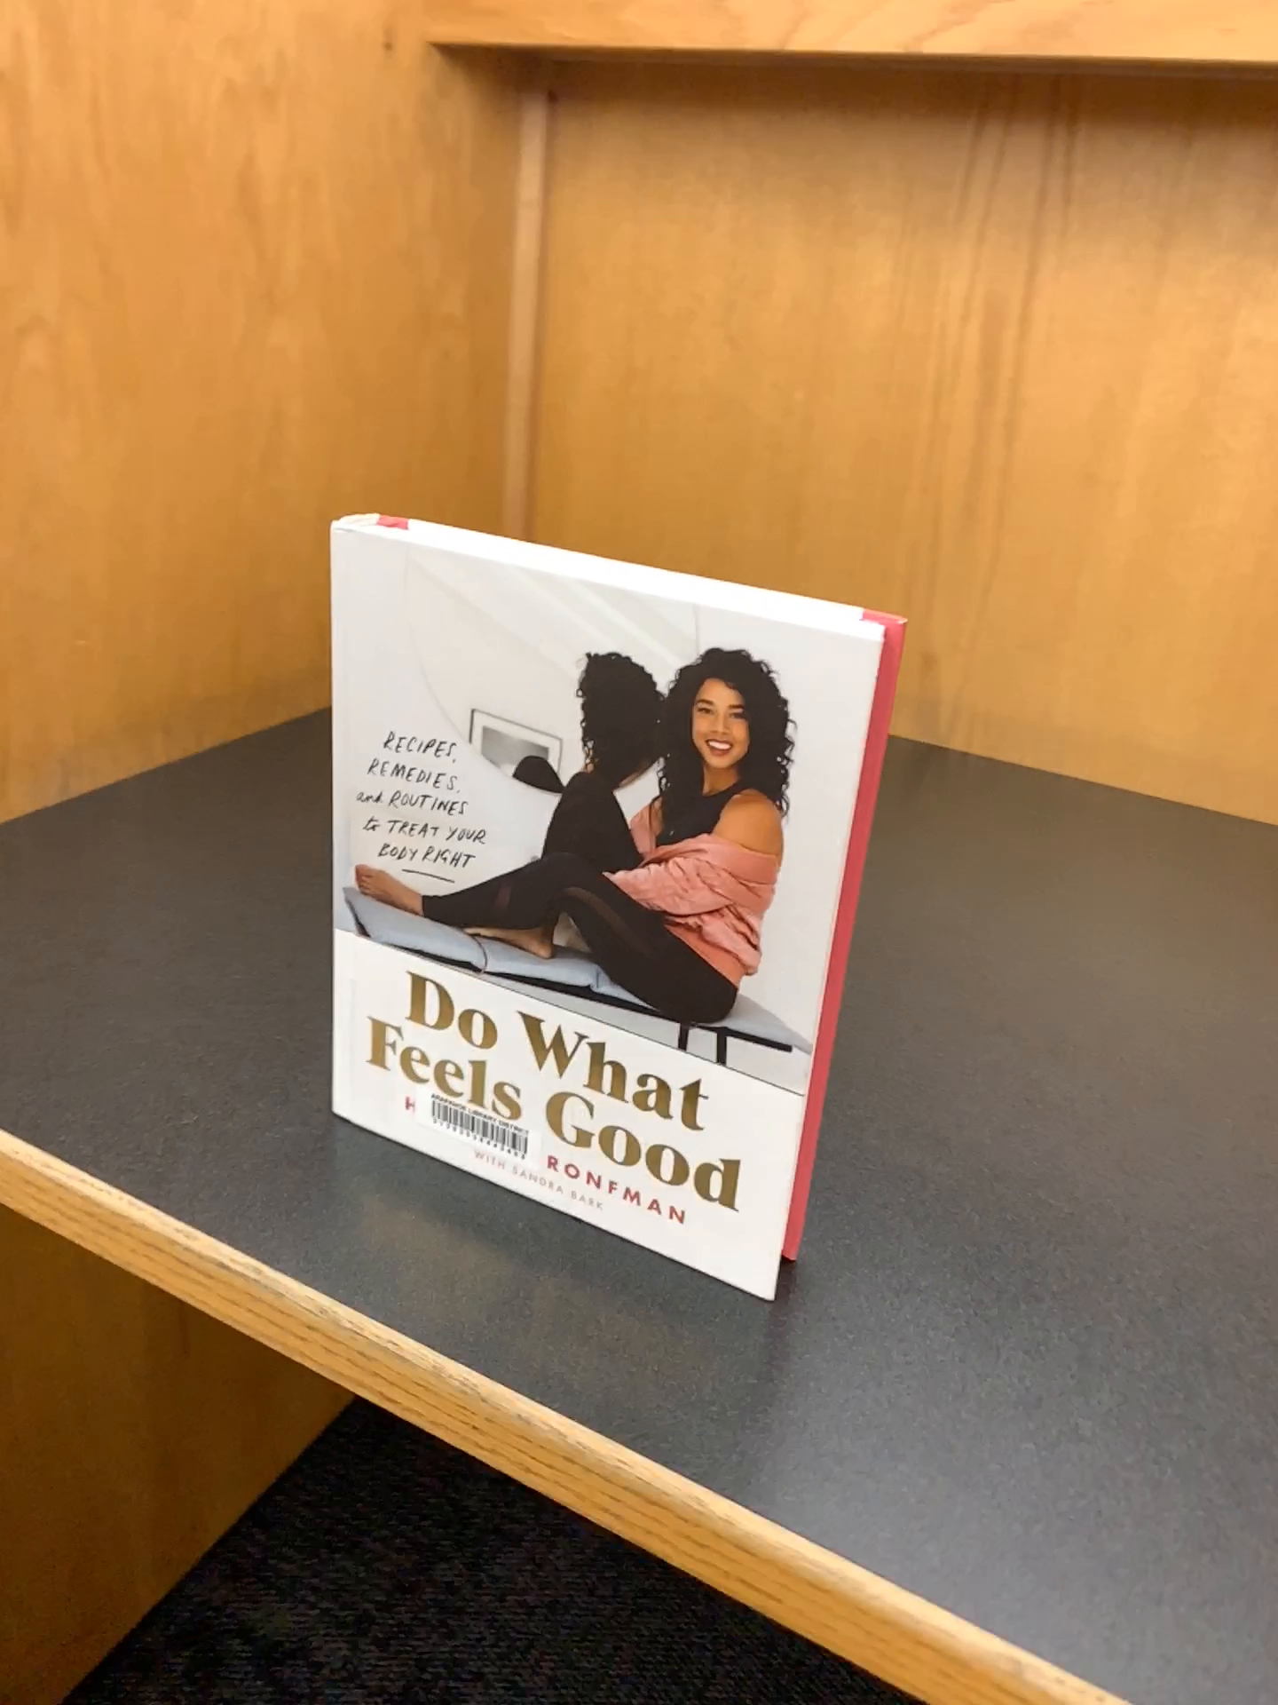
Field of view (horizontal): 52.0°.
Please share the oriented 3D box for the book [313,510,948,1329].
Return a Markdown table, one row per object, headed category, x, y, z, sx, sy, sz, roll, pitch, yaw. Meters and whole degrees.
| category | x | y | z | sx | sy | sz | roll | pitch | yaw |
| --- | --- | --- | --- | --- | --- | --- | --- | --- | --- |
| book | -0.020 | 0.023 | 0.465 | 0.210 | 0.249 | 0.030 | 15 | 25 | 22 |
